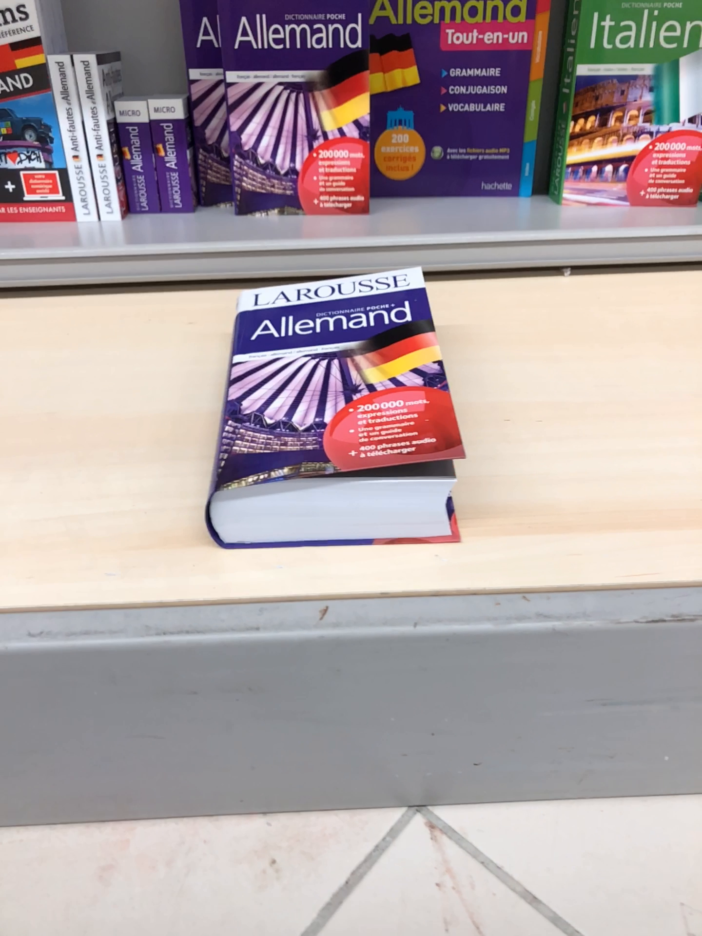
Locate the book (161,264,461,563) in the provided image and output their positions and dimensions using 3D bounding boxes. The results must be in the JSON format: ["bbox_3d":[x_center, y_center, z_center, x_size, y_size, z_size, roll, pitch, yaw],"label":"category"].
[{"bbox_3d":[-0.019,-0.038,0.396,0.120,0.050,0.182,-2,41,-1],"label":"book"}]
